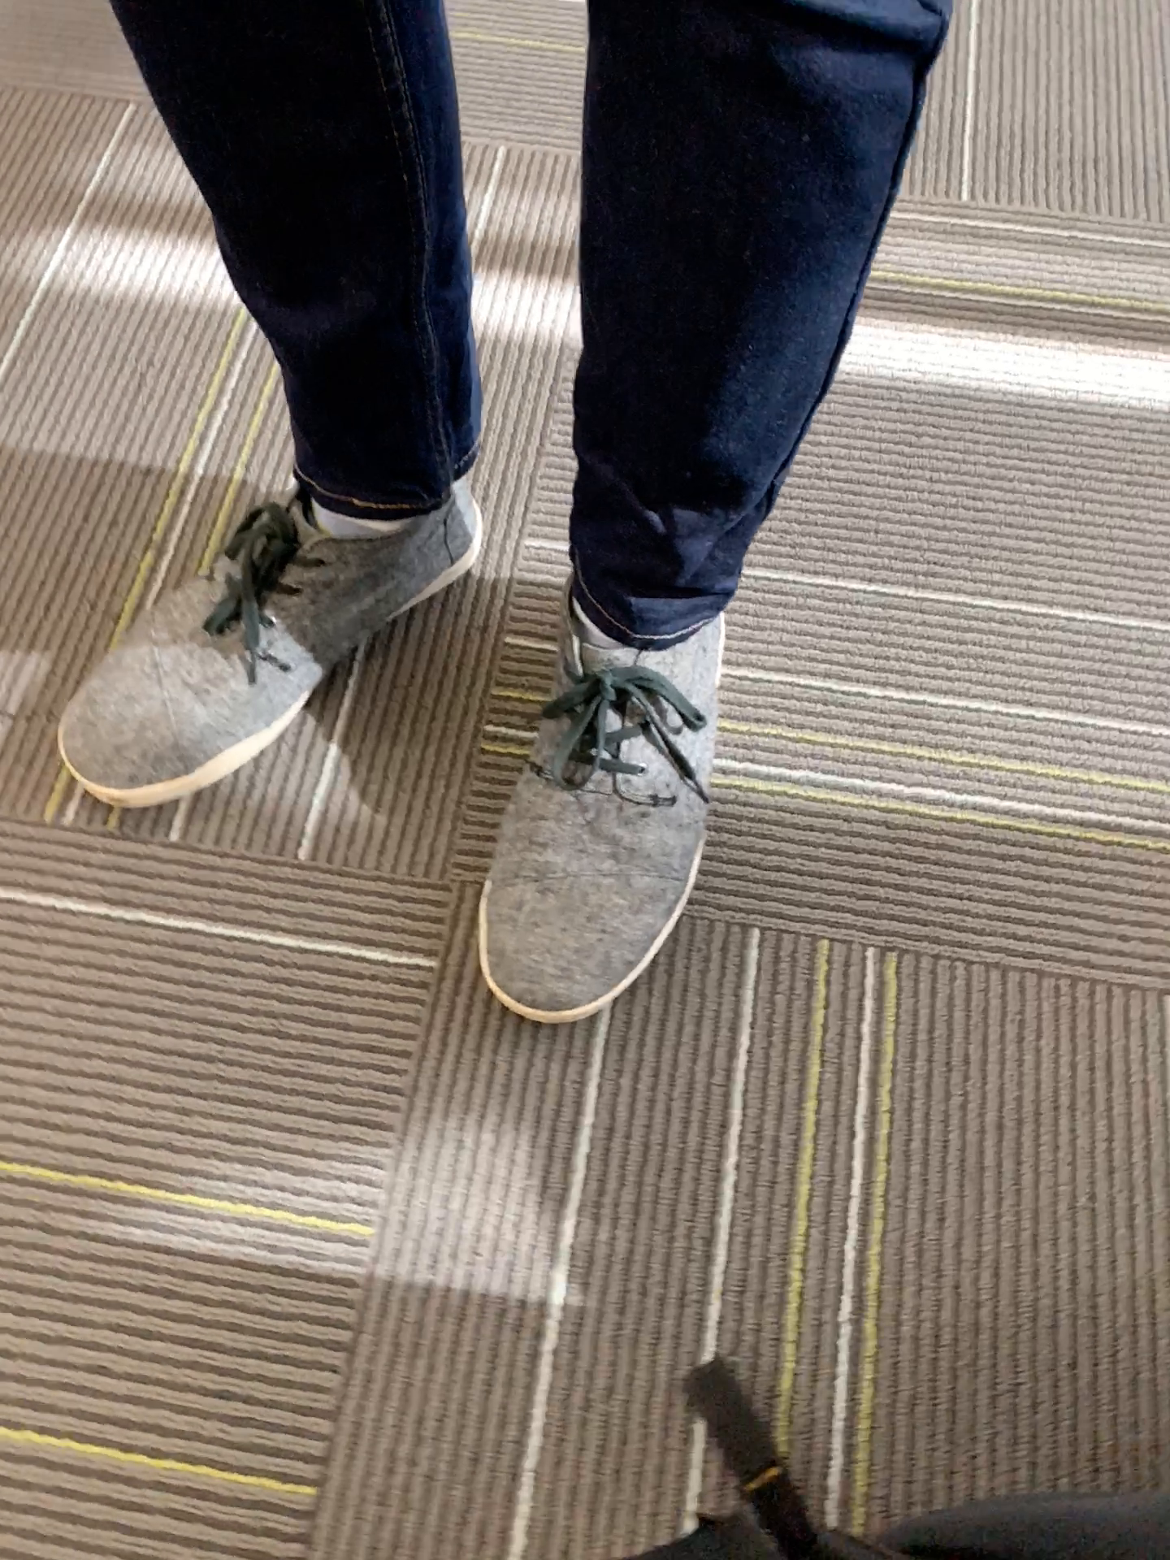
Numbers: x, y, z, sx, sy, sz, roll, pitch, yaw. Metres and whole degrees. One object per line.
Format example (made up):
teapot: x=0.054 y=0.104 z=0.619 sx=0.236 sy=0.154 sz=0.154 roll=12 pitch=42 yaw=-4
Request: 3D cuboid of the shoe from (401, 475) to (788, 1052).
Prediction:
shoe: x=0.014 y=-0.017 z=0.687 sx=0.134 sy=0.087 sz=0.301 roll=14 pitch=65 yaw=6

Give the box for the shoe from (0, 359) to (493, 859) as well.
shoe: x=-0.212 y=-0.110 z=0.731 sx=0.134 sy=0.087 sz=0.299 roll=41 pitch=69 yaw=17
